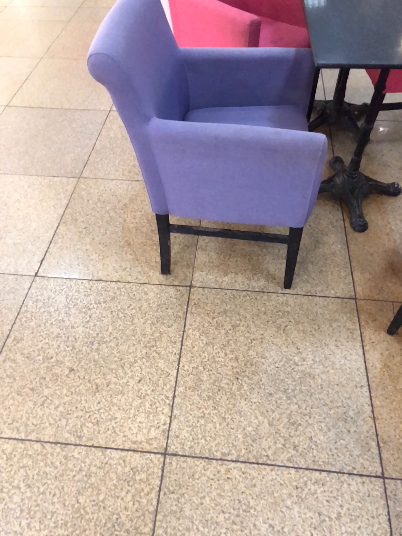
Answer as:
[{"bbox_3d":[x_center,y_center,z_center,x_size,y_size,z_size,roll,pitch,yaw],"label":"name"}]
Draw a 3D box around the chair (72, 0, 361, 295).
[{"bbox_3d":[0.072,-0.418,1.490,0.660,0.817,0.572,6,50,6],"label":"chair"}]
